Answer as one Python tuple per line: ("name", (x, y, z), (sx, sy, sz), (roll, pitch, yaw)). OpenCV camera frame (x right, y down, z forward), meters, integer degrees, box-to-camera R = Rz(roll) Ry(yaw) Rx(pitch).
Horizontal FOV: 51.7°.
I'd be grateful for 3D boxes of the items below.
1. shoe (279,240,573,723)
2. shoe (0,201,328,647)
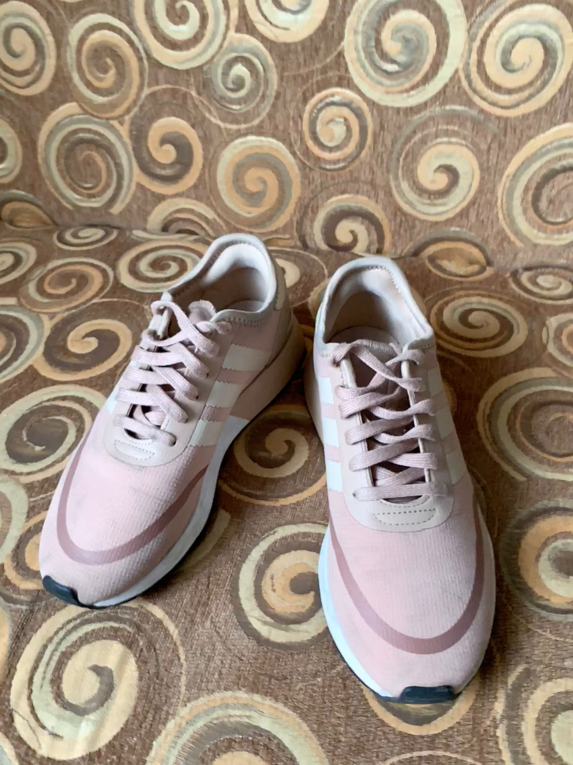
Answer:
("shoe", (0.061, 0.039, 0.339), (0.100, 0.090, 0.251), (-7, 51, 0))
("shoe", (-0.071, 0.007, 0.364), (0.100, 0.090, 0.251), (19, 56, 19))
